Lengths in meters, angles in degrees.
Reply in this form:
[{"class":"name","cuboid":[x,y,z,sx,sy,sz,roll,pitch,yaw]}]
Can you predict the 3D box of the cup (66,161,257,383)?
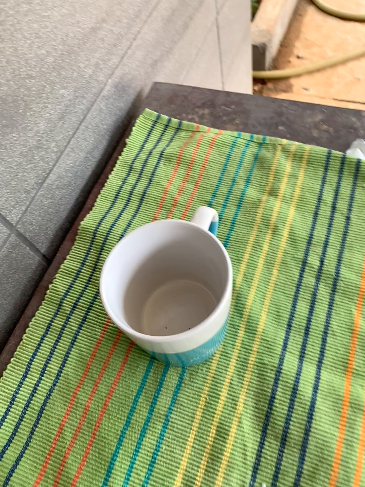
[{"class":"cup","cuboid":[-0.003,0.024,0.316,0.100,0.100,0.140,12,64,17]}]
